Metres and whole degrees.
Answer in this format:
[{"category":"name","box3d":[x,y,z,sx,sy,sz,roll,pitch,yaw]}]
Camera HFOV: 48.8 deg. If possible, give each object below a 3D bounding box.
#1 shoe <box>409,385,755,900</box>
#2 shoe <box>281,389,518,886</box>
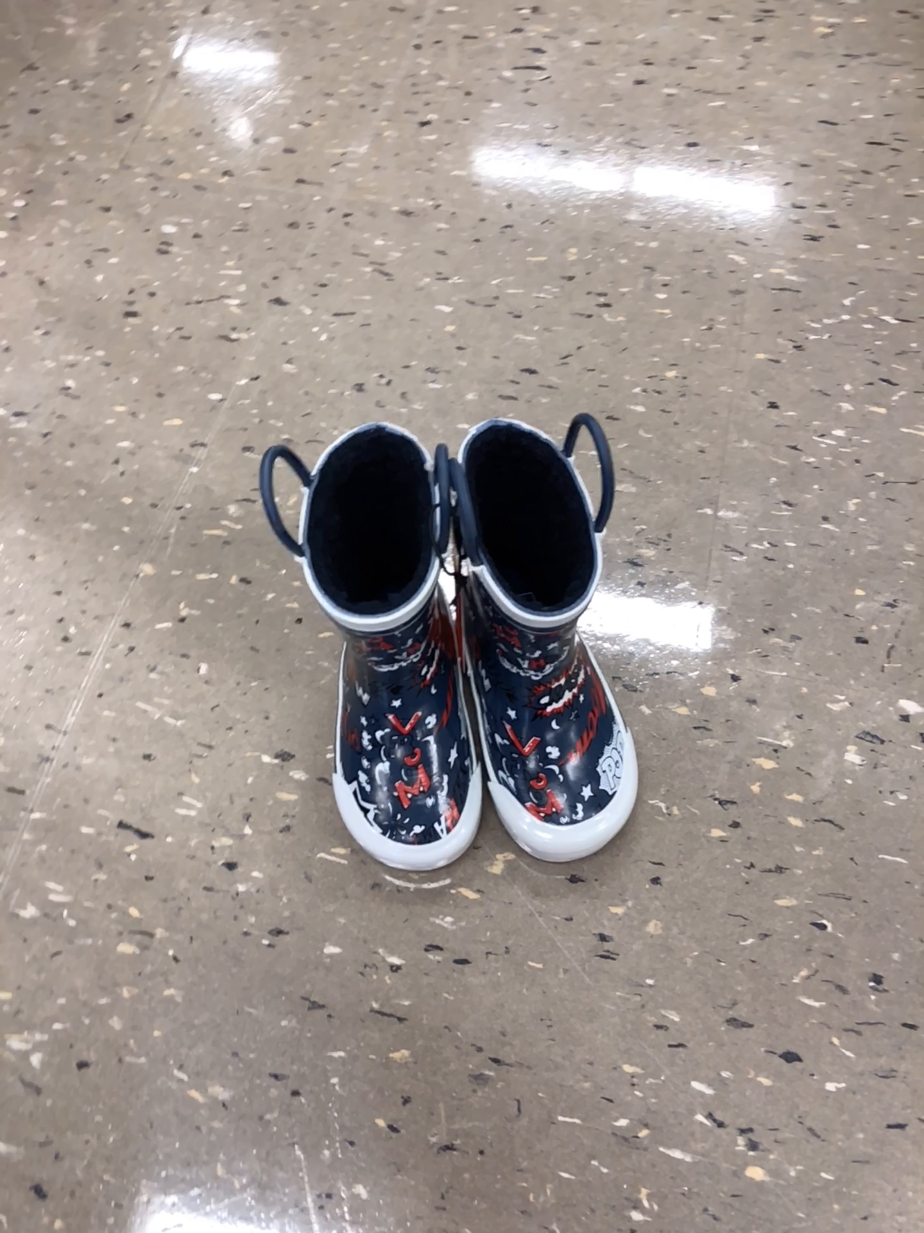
[{"category":"shoe","box3d":[0.040,0.019,0.435,0.080,0.160,0.150,-14,63,-6]},{"category":"shoe","box3d":[-0.023,0.017,0.451,0.080,0.160,0.160,-4,62,0]}]
